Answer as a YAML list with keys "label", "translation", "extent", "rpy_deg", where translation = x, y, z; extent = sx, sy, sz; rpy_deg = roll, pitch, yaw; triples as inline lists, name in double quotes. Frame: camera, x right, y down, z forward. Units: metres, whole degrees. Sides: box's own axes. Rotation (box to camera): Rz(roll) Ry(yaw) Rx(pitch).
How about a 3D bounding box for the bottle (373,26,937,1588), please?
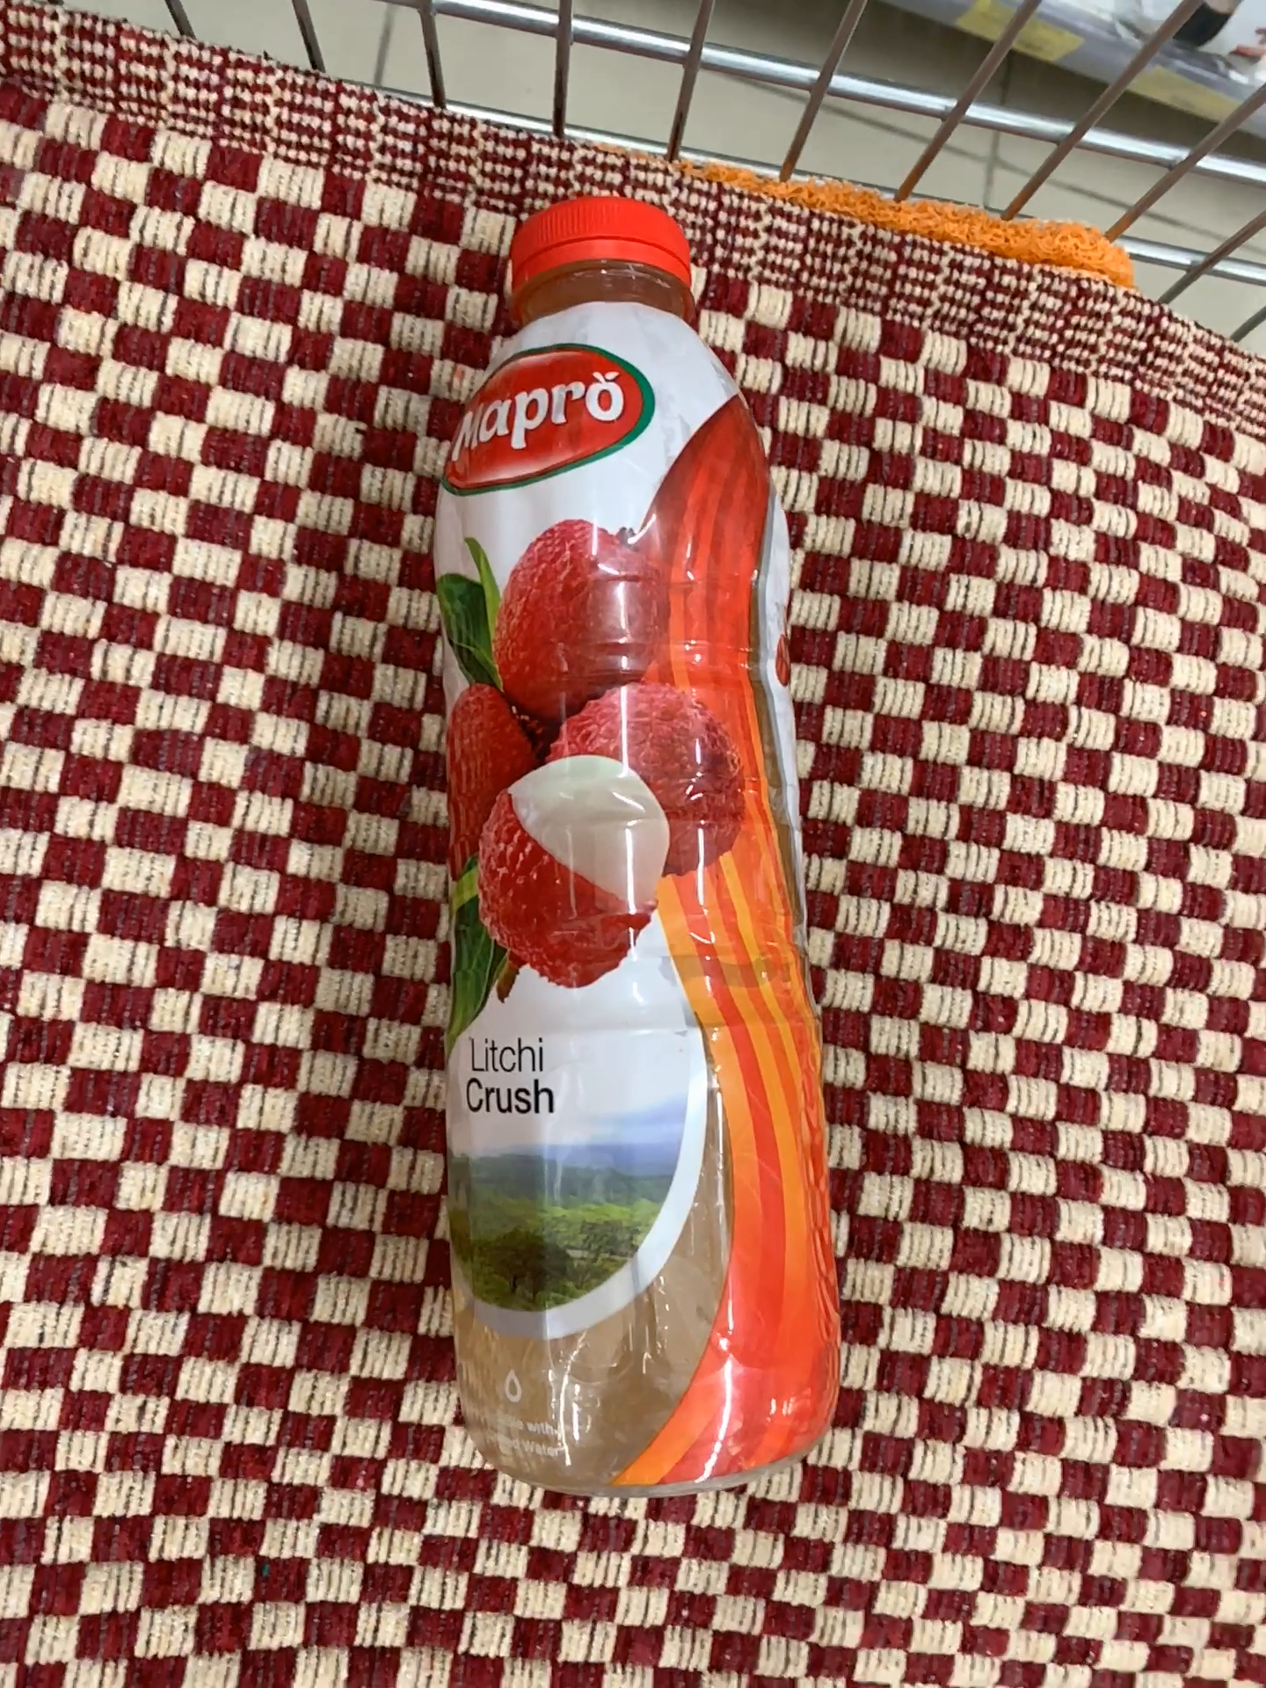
- label: "bottle"
  translation: [0.005, -0.006, 0.254]
  extent: [0.080, 0.070, 0.240]
  rpy_deg: [3, 85, -52]
